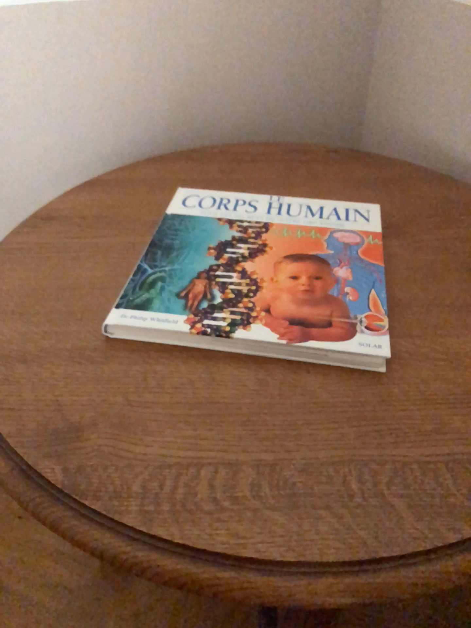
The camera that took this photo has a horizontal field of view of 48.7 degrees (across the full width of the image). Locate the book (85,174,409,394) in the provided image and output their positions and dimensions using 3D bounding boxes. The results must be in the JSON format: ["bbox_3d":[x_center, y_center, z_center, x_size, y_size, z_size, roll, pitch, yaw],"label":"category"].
[{"bbox_3d":[0.030,-0.056,0.550,0.270,0.040,0.292,6,41,8],"label":"book"}]
